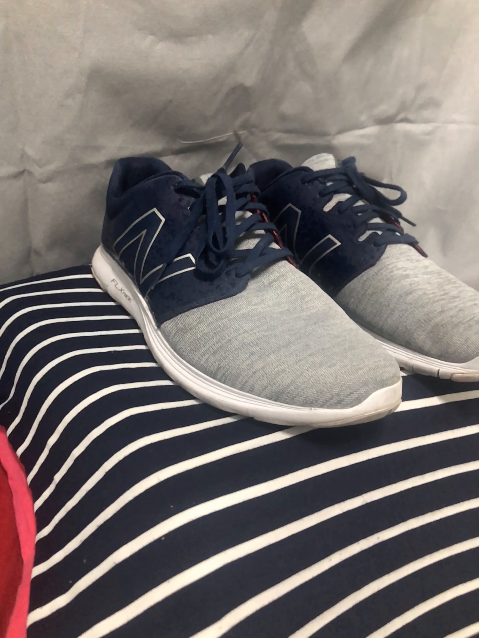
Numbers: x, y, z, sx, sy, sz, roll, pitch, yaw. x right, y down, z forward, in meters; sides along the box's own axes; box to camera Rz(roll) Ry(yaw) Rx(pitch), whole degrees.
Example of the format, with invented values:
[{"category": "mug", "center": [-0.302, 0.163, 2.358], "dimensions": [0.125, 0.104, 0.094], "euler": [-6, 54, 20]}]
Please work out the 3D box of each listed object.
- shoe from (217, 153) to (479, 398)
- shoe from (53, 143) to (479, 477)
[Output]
[{"category": "shoe", "center": [0.105, -0.058, 0.407], "dimensions": [0.120, 0.079, 0.262], "euler": [-14, 33, -32]}, {"category": "shoe", "center": [-0.018, -0.046, 0.374], "dimensions": [0.120, 0.089, 0.322], "euler": [-14, 33, -32]}]
